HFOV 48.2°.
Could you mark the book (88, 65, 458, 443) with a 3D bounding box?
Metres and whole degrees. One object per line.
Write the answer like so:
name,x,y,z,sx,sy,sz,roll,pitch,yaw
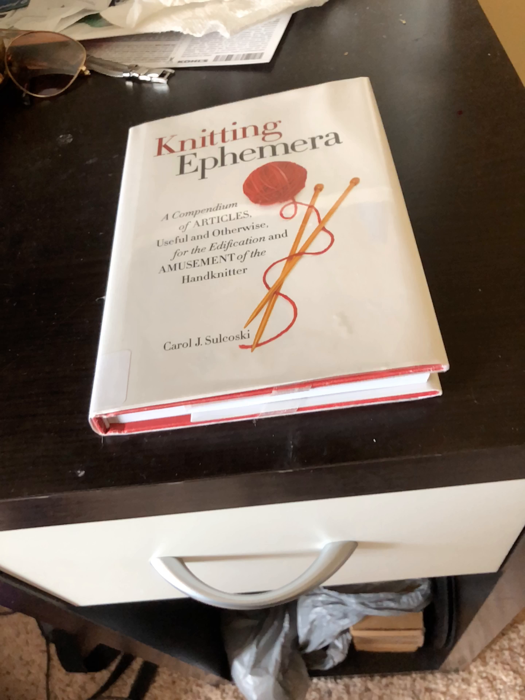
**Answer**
book,-0.001,-0.053,0.268,0.132,0.029,0.178,-9,55,8
